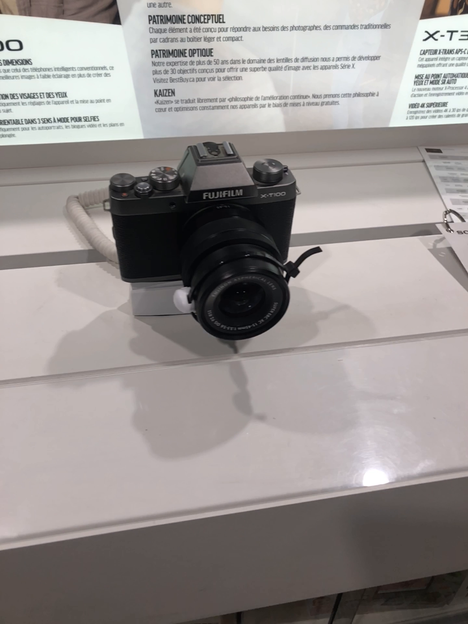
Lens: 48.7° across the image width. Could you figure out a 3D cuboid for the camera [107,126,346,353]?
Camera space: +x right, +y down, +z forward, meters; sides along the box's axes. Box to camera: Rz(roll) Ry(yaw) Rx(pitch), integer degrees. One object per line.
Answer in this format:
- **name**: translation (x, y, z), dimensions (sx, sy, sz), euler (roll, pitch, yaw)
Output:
- **camera**: translation (-0.012, -0.054, 0.350), dimensions (0.130, 0.099, 0.108), euler (-7, 39, -9)
